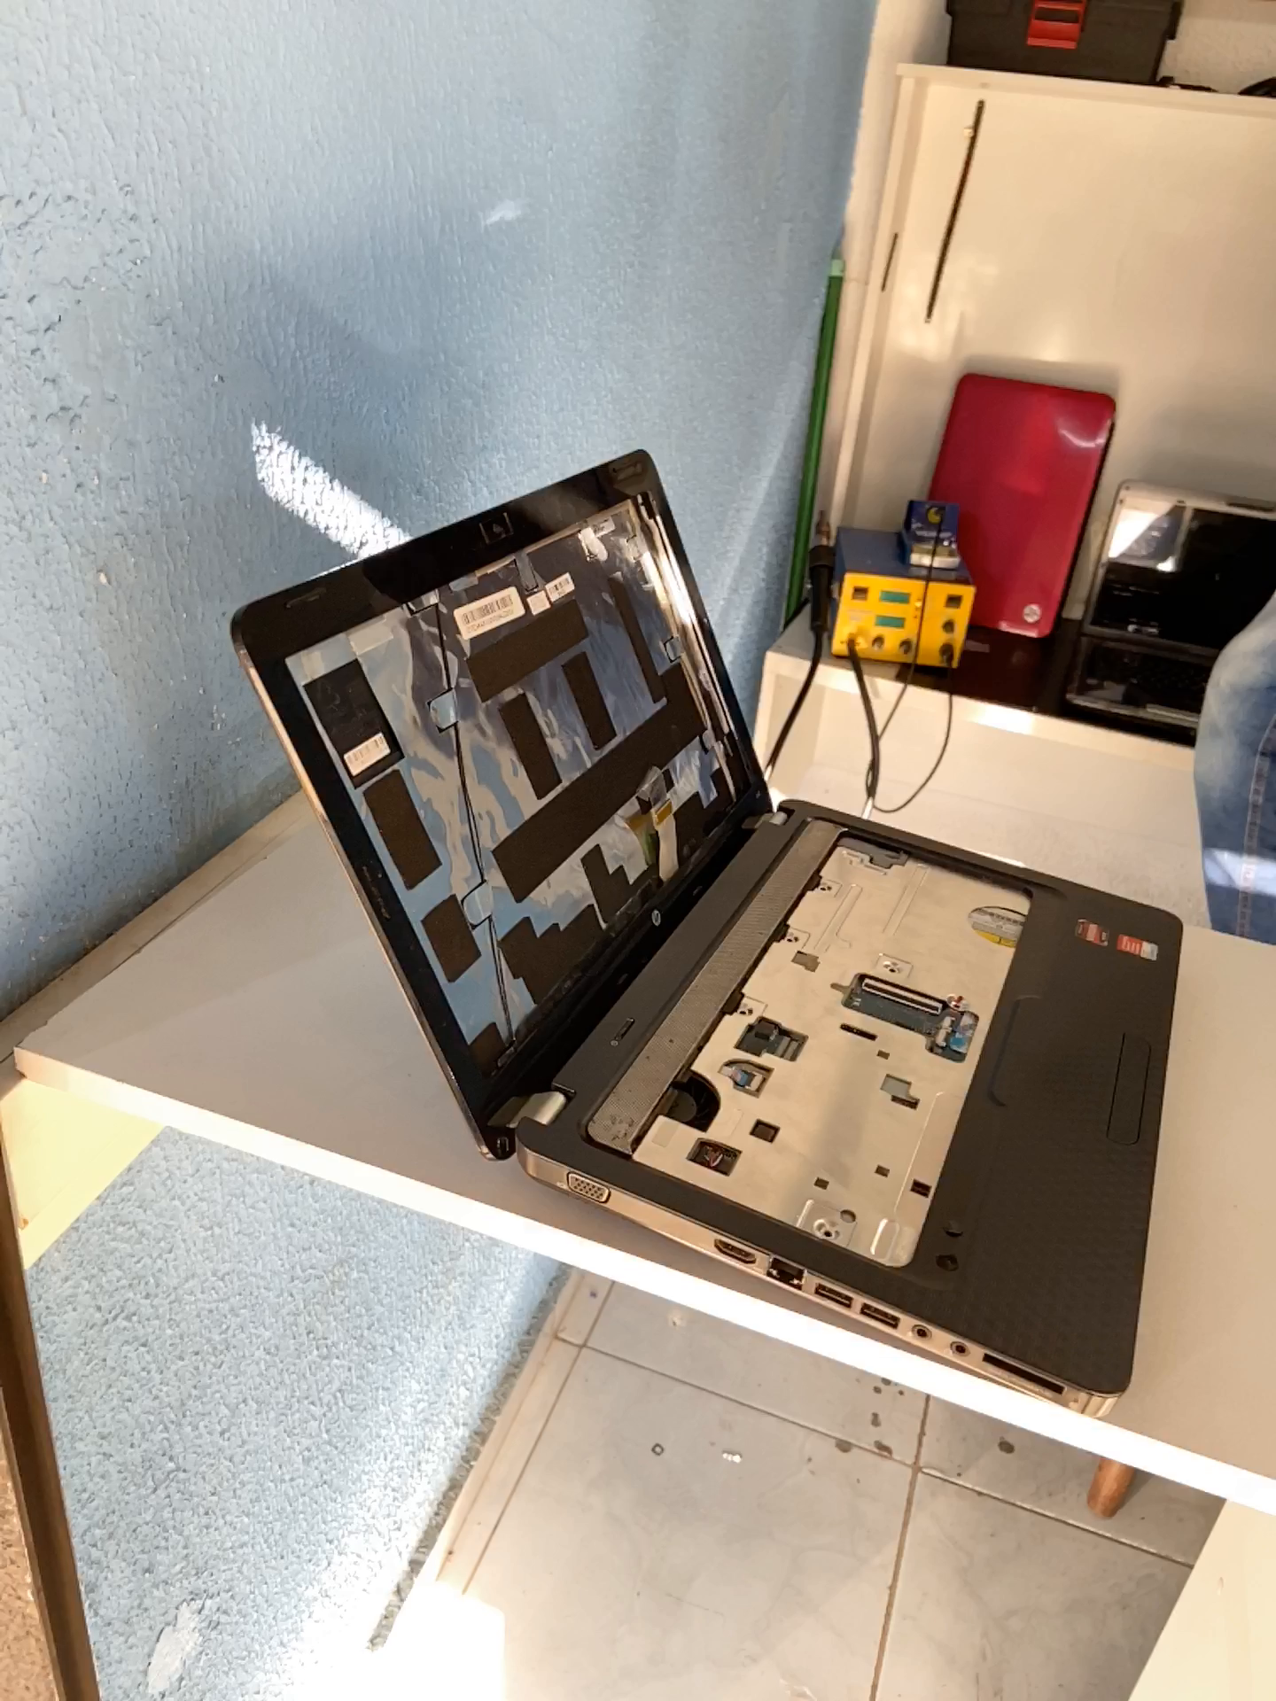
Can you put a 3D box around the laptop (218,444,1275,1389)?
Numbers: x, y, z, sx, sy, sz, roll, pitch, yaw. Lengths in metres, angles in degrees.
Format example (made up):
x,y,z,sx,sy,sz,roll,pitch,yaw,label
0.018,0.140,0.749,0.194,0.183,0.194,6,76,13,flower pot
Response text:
x,y,z,sx,sy,sz,roll,pitch,yaw,label
0.078,-0.024,0.574,0.349,0.179,0.340,18,30,17,laptop
